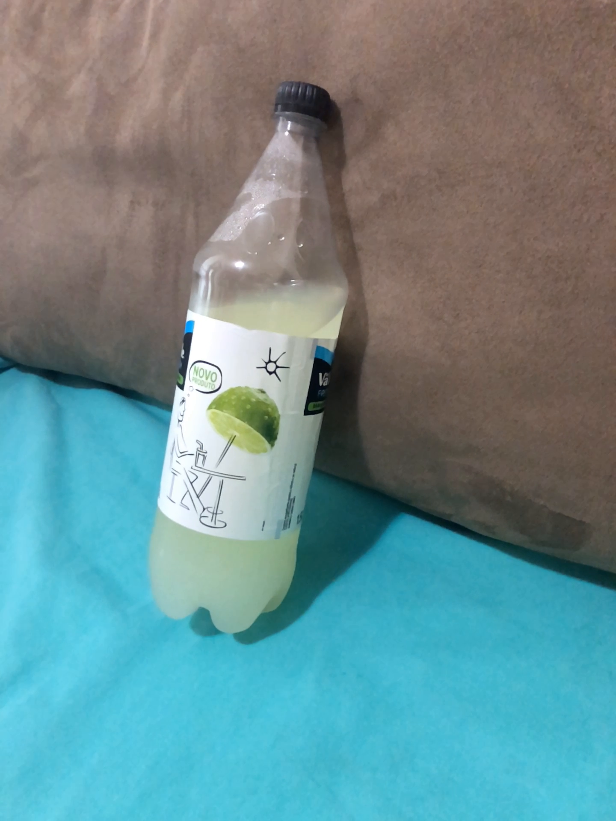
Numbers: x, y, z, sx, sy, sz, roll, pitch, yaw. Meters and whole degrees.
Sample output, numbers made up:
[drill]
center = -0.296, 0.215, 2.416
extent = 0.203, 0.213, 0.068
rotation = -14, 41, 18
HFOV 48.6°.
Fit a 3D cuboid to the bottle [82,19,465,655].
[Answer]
[bottle]
center = -0.022, -0.038, 0.410
extent = 0.100, 0.330, 0.100
rotation = 17, 3, -1
